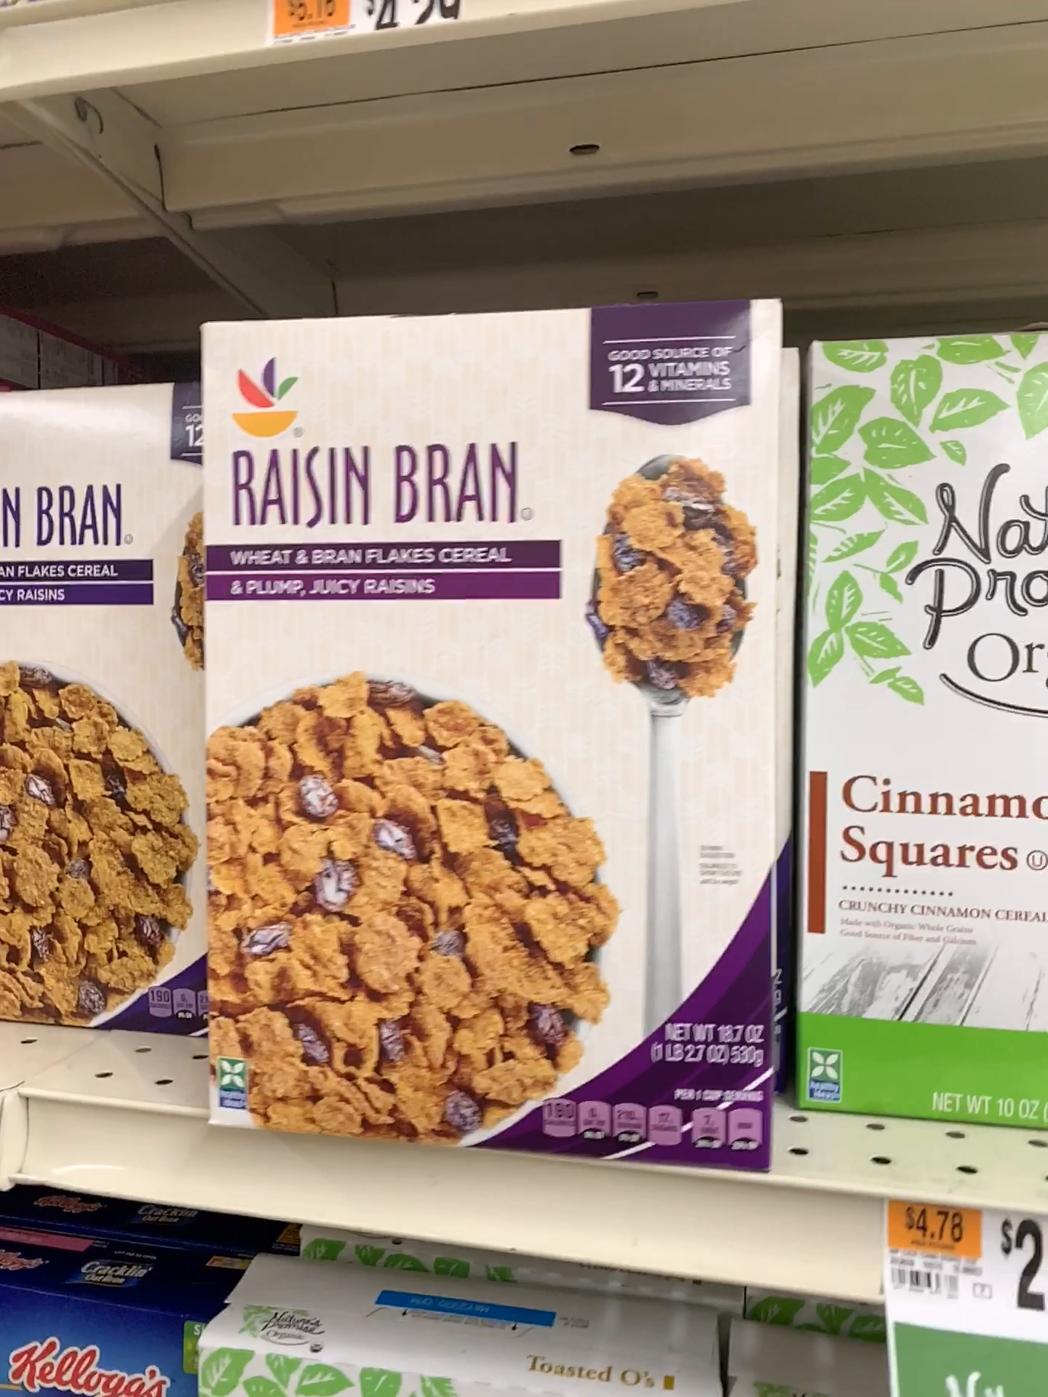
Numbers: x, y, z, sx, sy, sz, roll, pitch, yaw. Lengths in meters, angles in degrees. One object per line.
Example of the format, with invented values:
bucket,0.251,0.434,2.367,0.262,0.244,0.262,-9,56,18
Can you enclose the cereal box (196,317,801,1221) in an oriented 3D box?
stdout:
cereal box,-0.007,0.020,0.371,0.190,0.270,0.070,1,3,11
